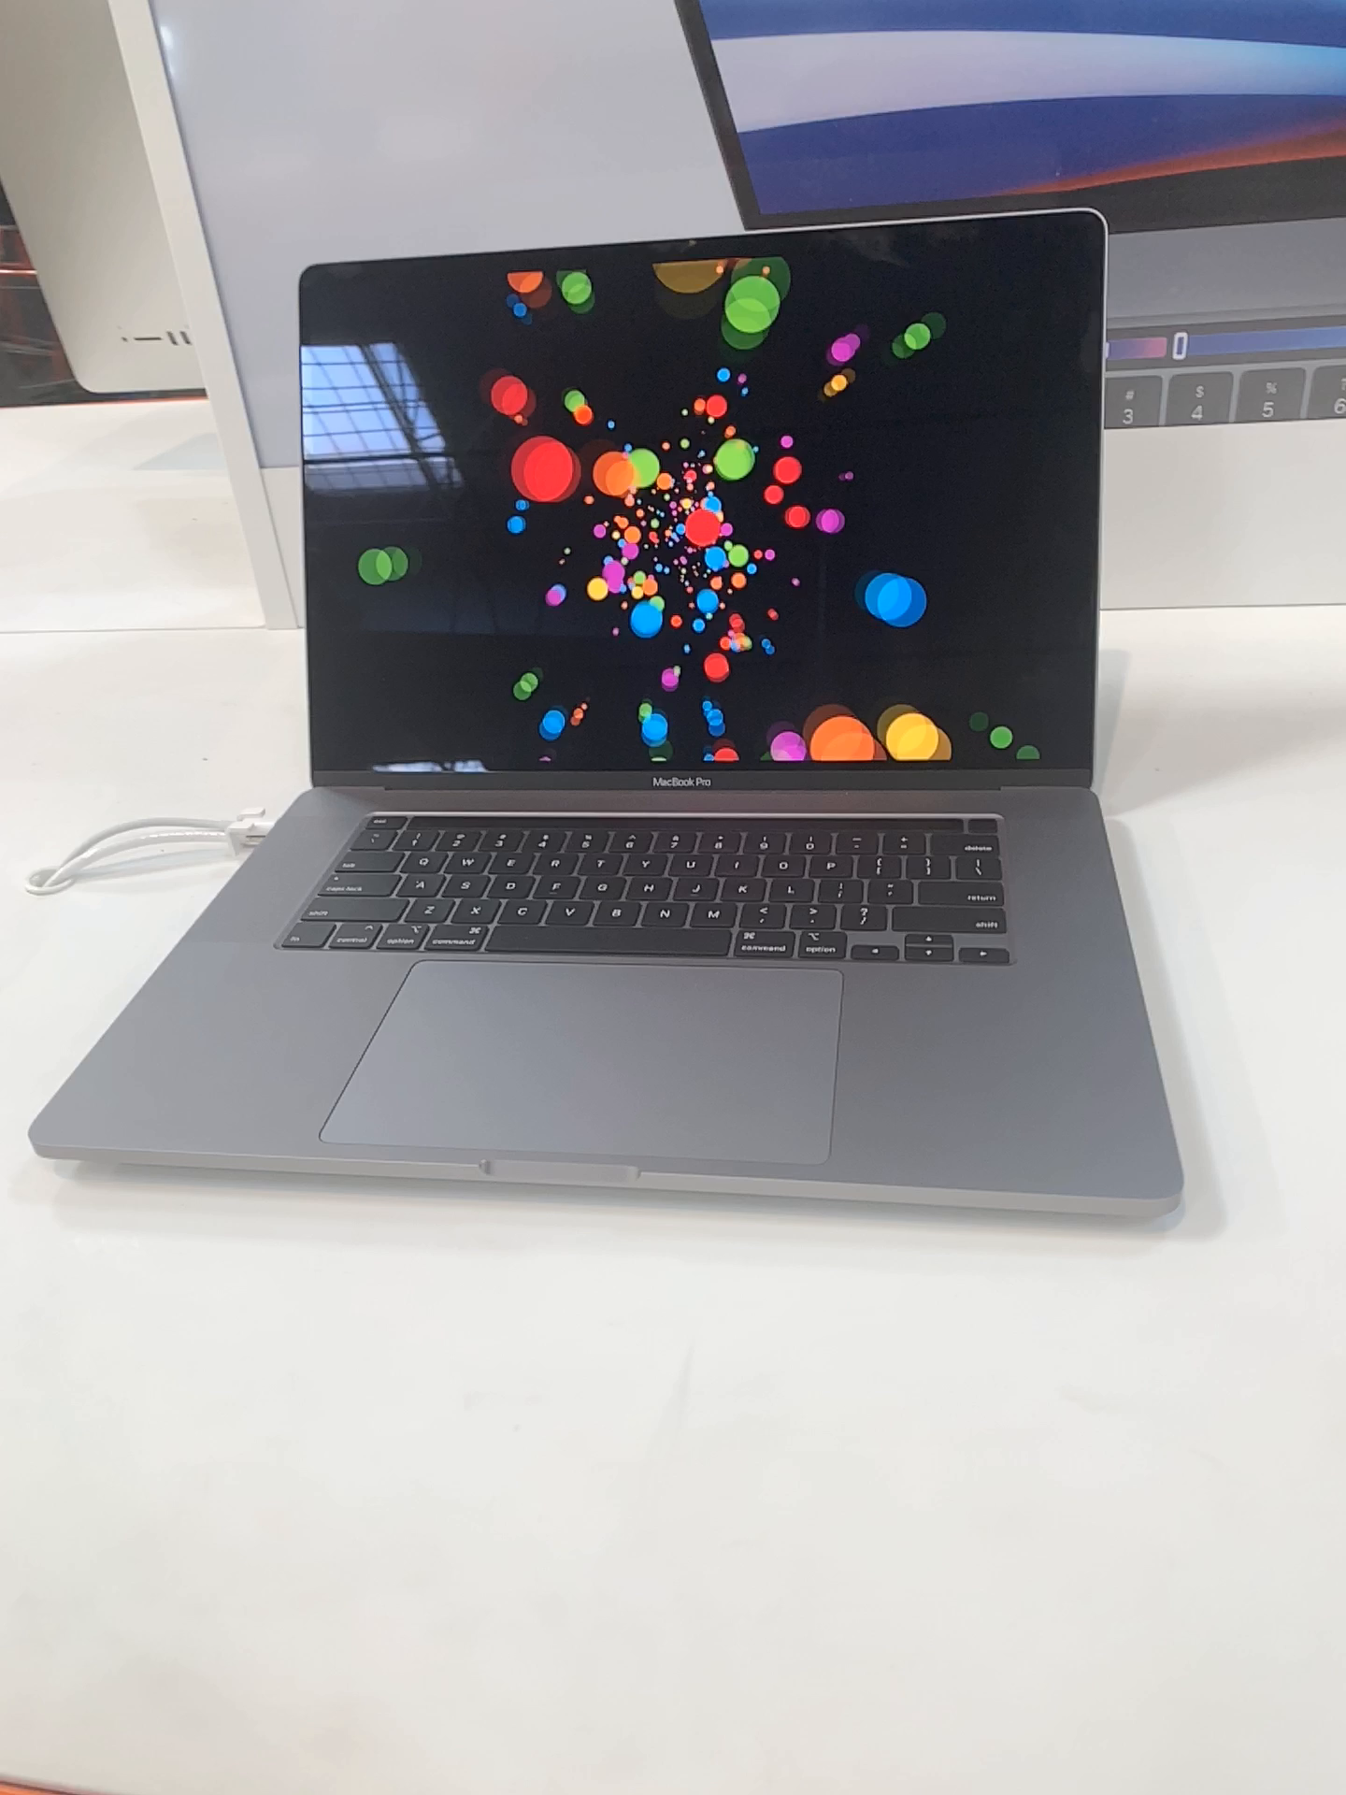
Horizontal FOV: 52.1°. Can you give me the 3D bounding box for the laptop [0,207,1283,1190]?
[{"bbox_3d":[-0.015,-0.101,0.491,0.341,0.203,0.347,0,32,10],"label":"laptop"}]
